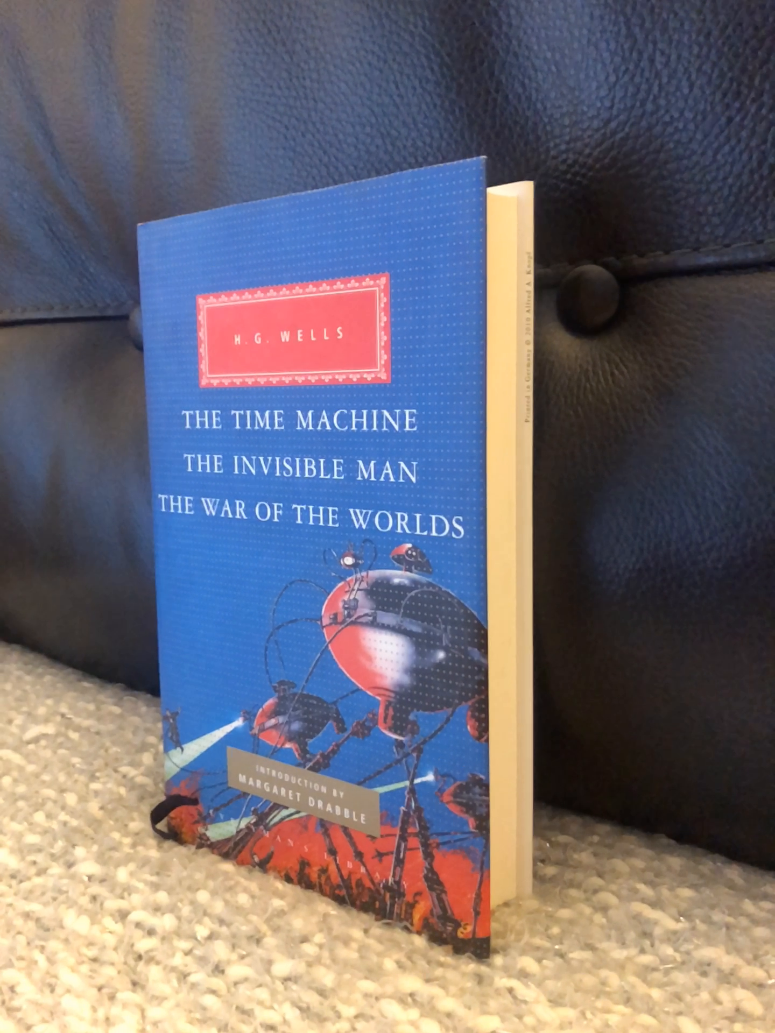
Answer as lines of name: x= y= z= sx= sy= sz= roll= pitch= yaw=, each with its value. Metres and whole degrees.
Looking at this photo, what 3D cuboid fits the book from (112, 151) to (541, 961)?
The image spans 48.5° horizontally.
book: x=-0.024 y=0.011 z=0.292 sx=0.148 sy=0.226 sz=0.034 roll=3 pitch=8 yaw=33
